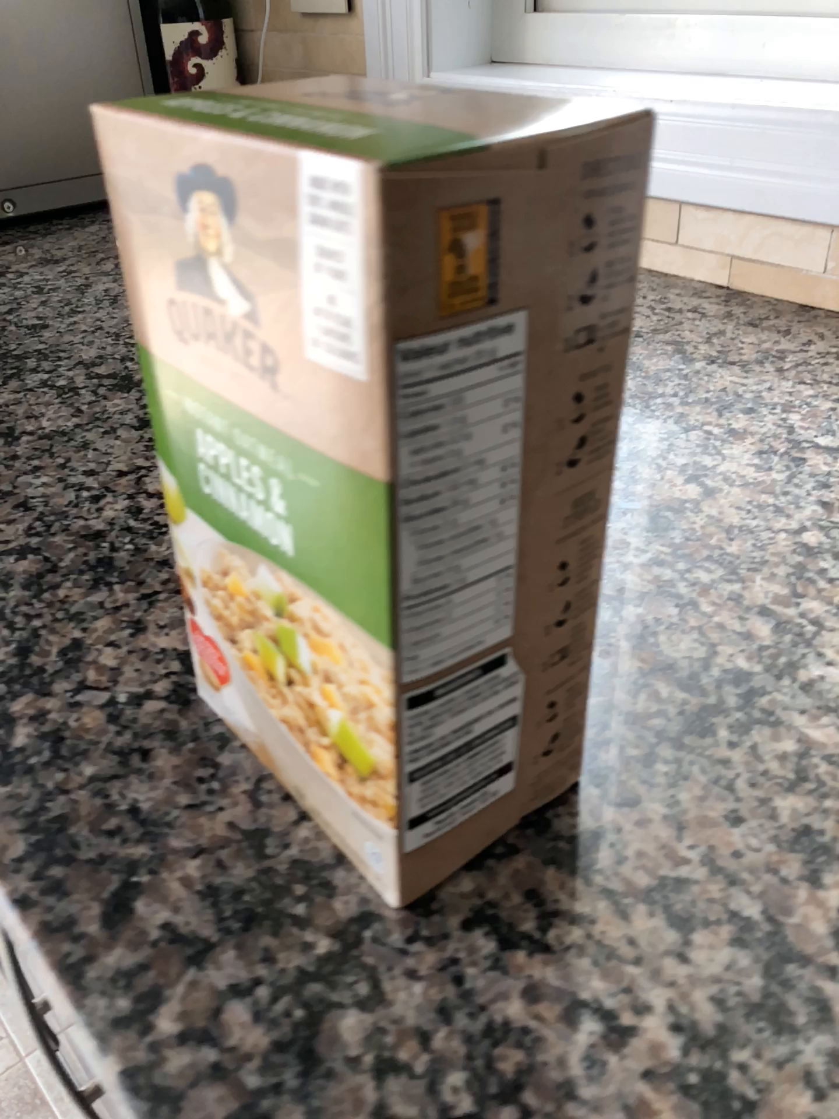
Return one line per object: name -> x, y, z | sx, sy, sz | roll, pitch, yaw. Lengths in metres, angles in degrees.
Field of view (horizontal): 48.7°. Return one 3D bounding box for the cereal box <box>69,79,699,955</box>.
cereal box -> -0.012, -0.017, 0.276 | 0.090, 0.209, 0.130 | -25, 39, -30
